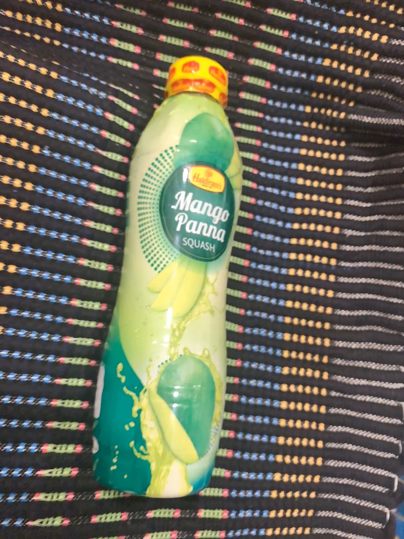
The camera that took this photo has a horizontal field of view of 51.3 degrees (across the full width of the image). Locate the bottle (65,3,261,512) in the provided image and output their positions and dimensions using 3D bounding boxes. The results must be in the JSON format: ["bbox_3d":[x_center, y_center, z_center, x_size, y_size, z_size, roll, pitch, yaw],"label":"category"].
[{"bbox_3d":[-0.017,-0.014,0.252,0.070,0.050,0.270,13,75,-28],"label":"bottle"}]
